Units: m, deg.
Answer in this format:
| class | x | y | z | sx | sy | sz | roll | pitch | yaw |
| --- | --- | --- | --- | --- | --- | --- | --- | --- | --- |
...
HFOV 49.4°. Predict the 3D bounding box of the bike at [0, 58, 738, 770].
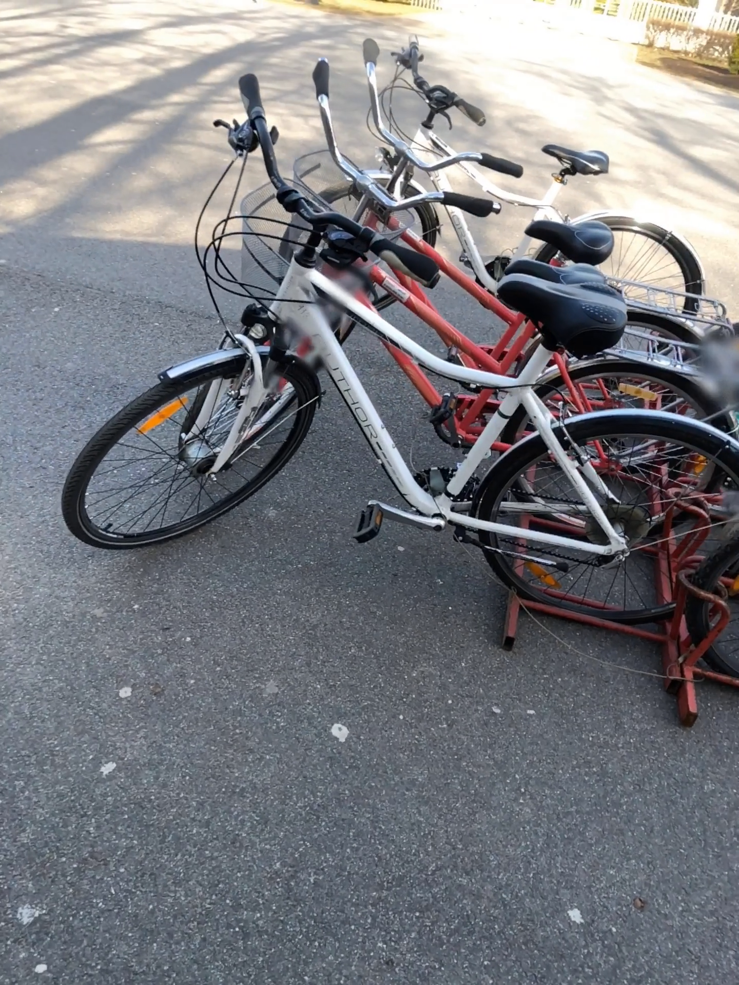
| class | x | y | z | sx | sy | sz | roll | pitch | yaw |
| --- | --- | --- | --- | --- | --- | --- | --- | --- | --- |
| bike | 0.194 | -0.106 | 1.708 | 1.600 | 1.163 | 0.622 | 7 | 33 | -6 |
